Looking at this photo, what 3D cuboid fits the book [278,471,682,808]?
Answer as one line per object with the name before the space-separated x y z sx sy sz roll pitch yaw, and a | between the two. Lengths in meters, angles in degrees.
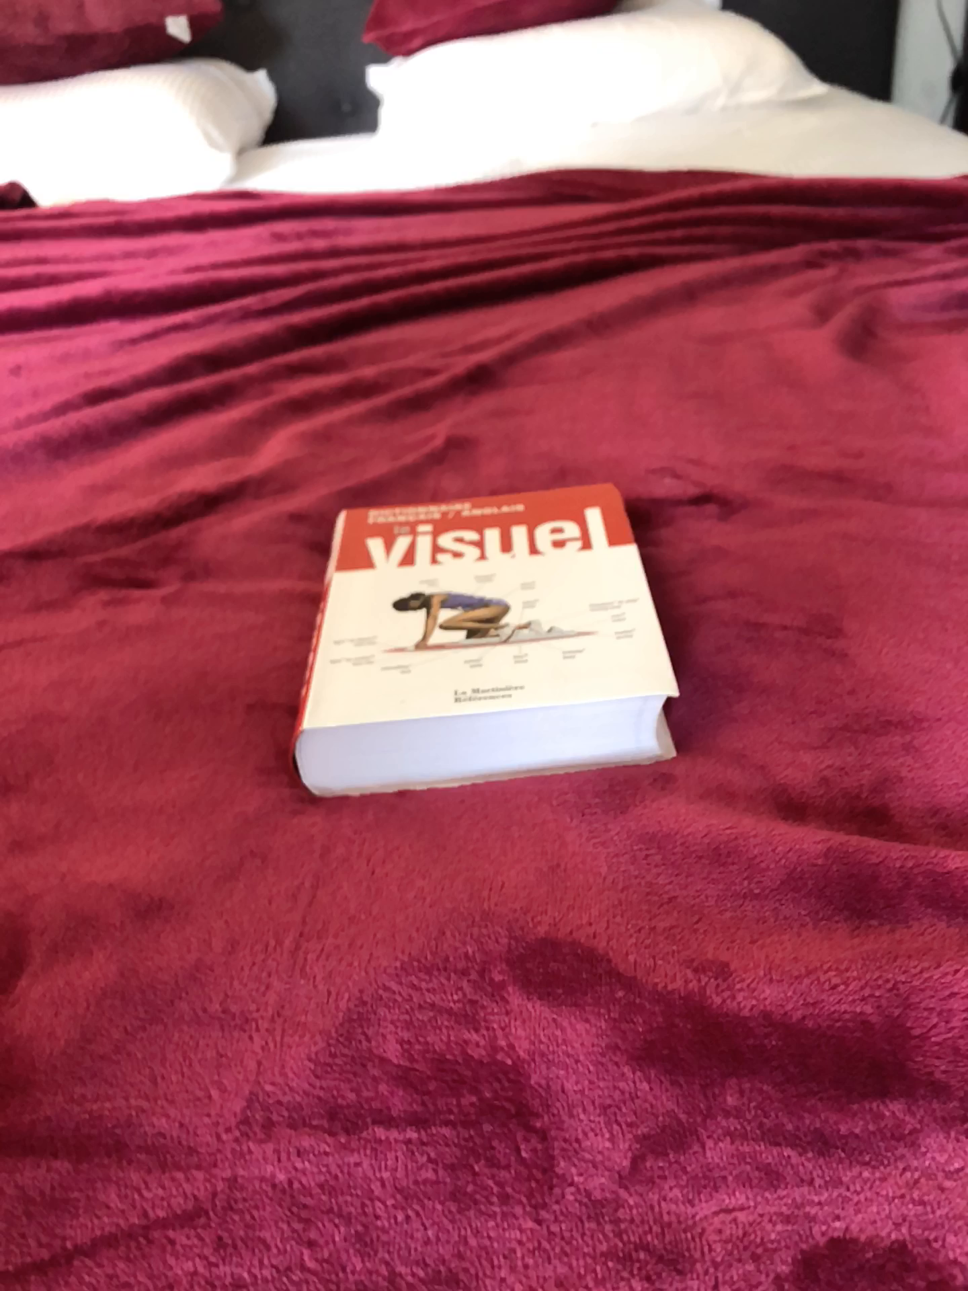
book | -0.002 -0.012 0.458 0.140 0.039 0.181 -5 33 2
